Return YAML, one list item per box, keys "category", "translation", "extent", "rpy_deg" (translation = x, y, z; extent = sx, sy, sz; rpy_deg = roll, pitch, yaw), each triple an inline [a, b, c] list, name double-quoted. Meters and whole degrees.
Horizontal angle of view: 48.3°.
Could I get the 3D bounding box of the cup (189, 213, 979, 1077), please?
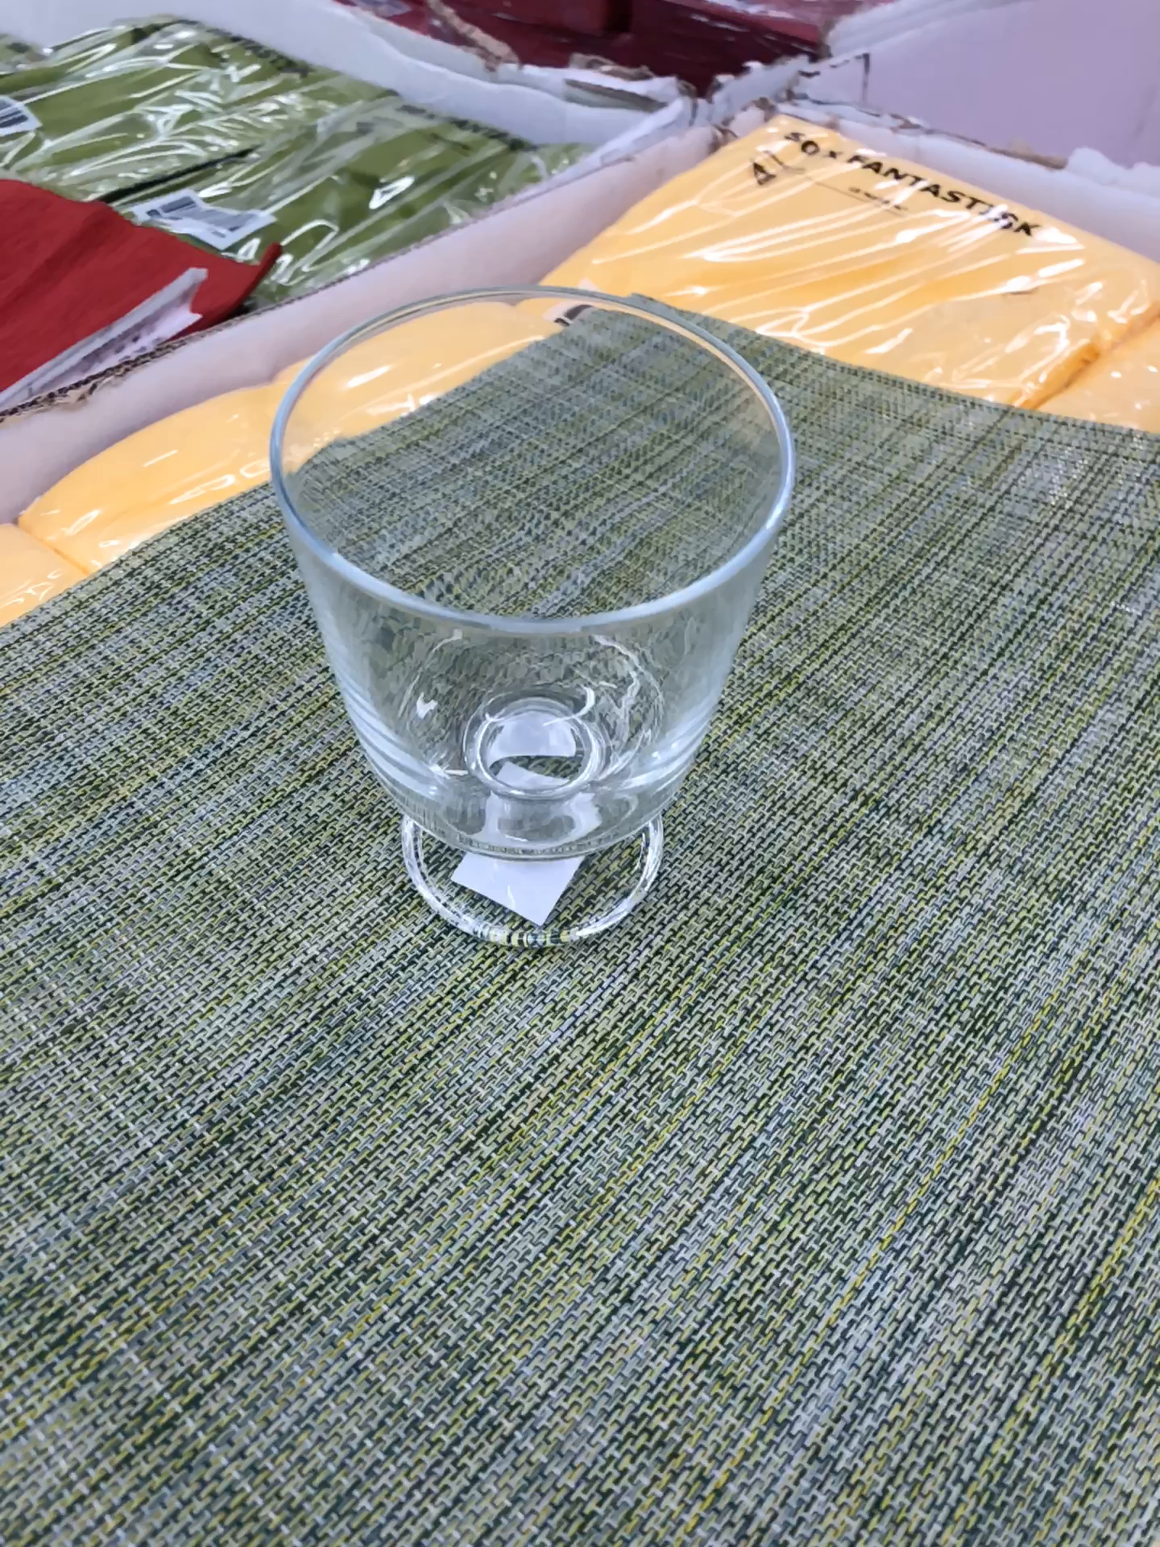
- category: "cup"
  translation: [-0.003, -0.022, 0.250]
  extent: [0.090, 0.110, 0.090]
  rpy_deg: [1, 55, -2]
